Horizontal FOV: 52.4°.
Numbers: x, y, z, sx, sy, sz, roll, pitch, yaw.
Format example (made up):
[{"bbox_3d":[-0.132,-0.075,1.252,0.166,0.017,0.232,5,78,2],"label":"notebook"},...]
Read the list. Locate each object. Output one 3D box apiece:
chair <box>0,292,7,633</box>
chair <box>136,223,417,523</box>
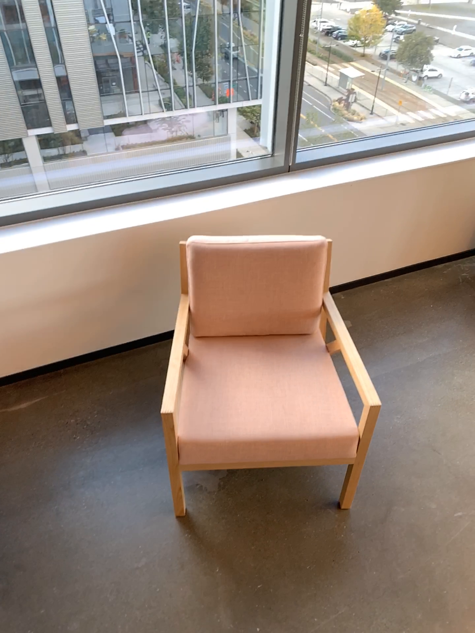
[{"bbox_3d":[-1.243,0.555,1.459,0.740,0.796,0.774,-16,46,-17],"label":"chair"},{"bbox_3d":[0.087,0.201,1.820,0.740,0.796,0.774,-1,42,-2],"label":"chair"}]
